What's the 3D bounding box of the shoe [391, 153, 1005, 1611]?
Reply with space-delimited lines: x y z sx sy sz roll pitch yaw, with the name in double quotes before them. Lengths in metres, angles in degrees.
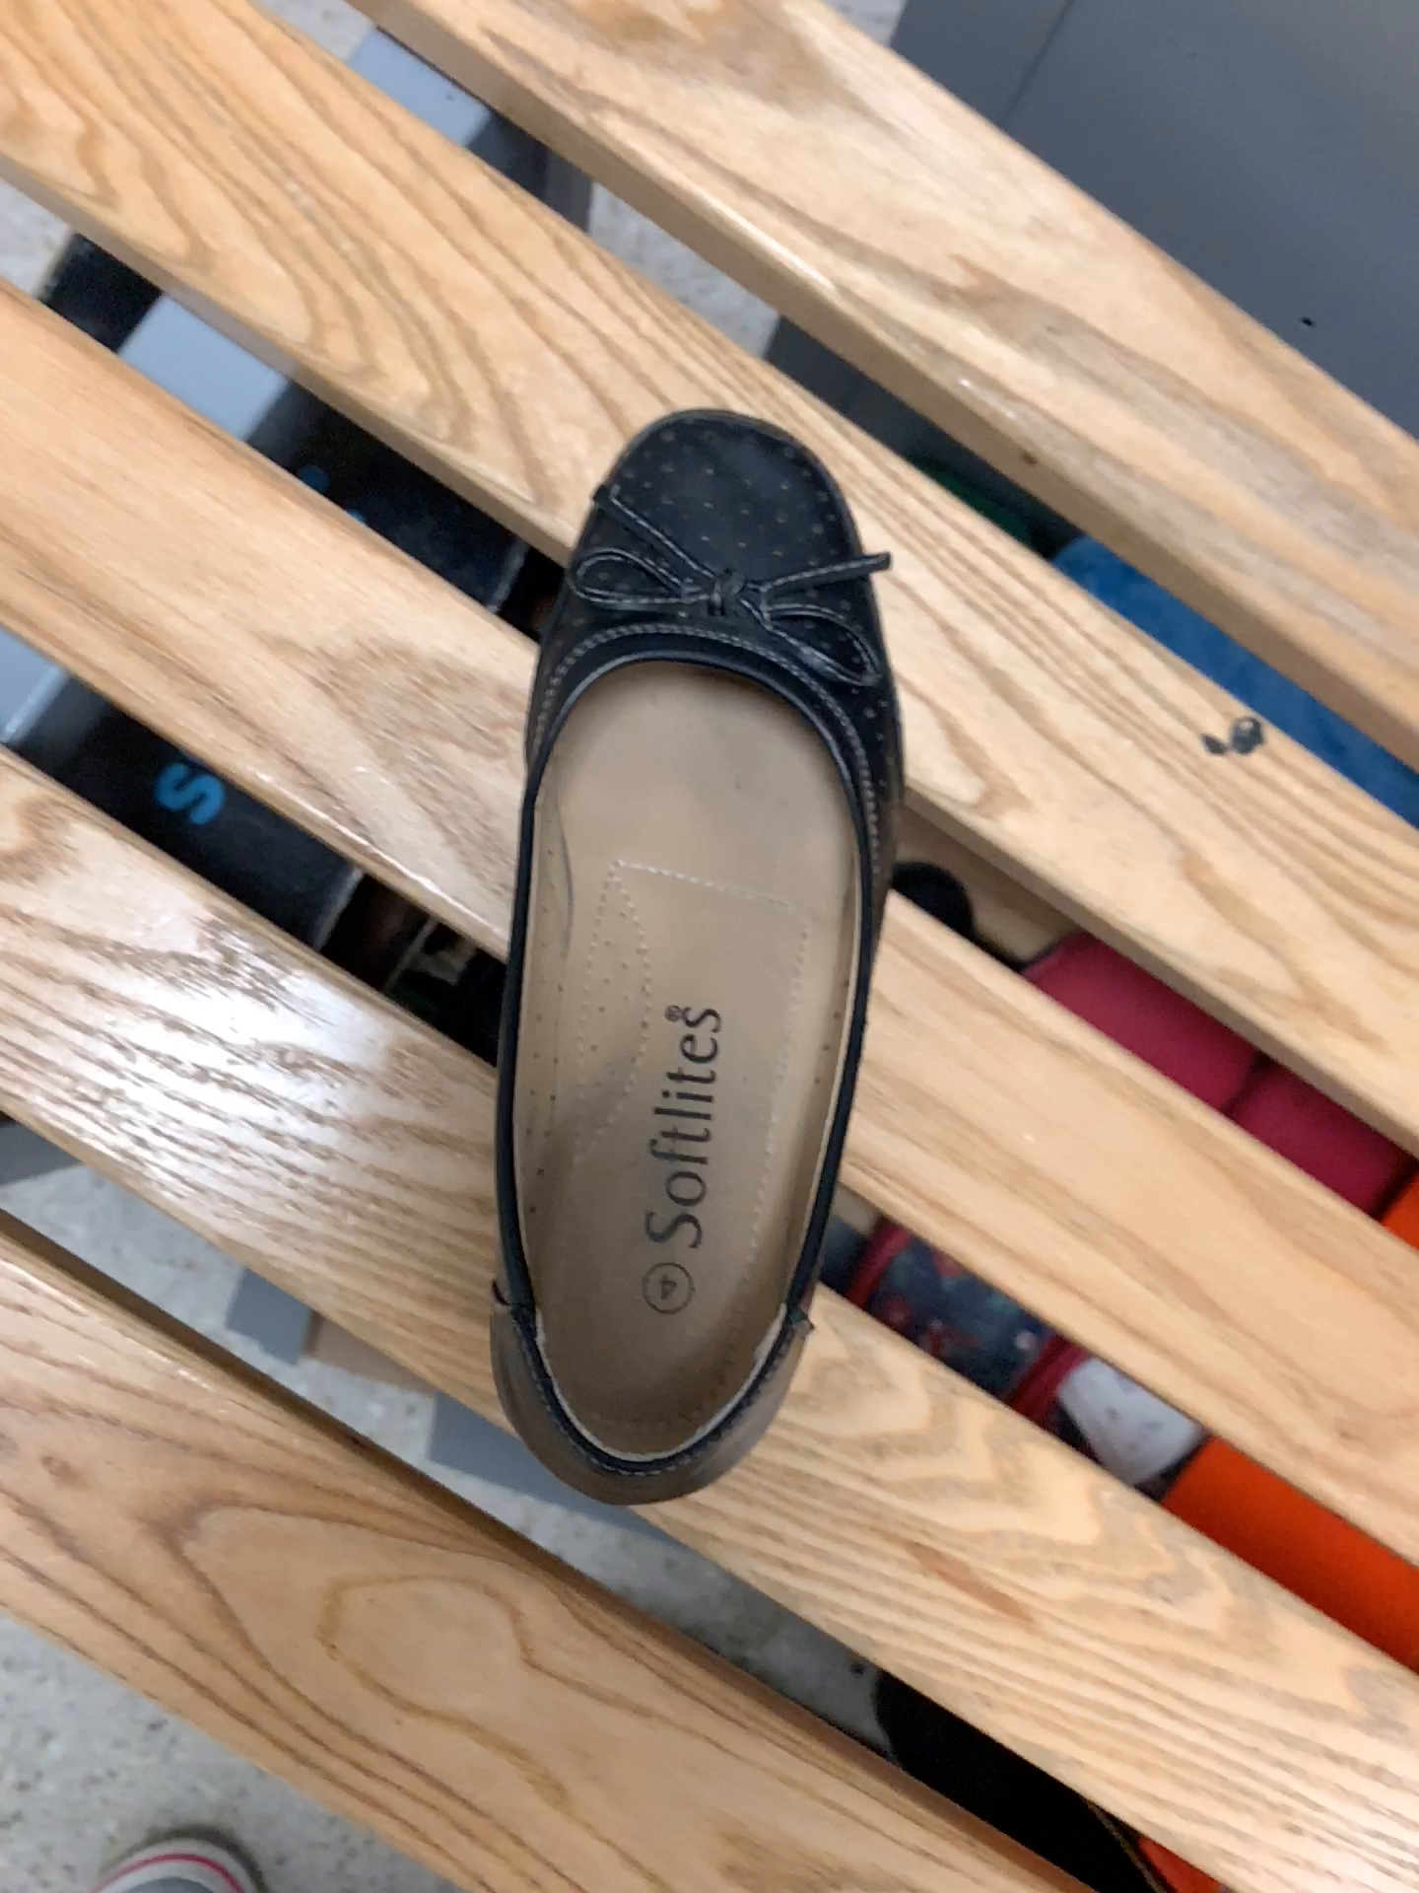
"shoe" -0.005 -0.013 0.333 0.087 0.109 0.272 8 80 -8
